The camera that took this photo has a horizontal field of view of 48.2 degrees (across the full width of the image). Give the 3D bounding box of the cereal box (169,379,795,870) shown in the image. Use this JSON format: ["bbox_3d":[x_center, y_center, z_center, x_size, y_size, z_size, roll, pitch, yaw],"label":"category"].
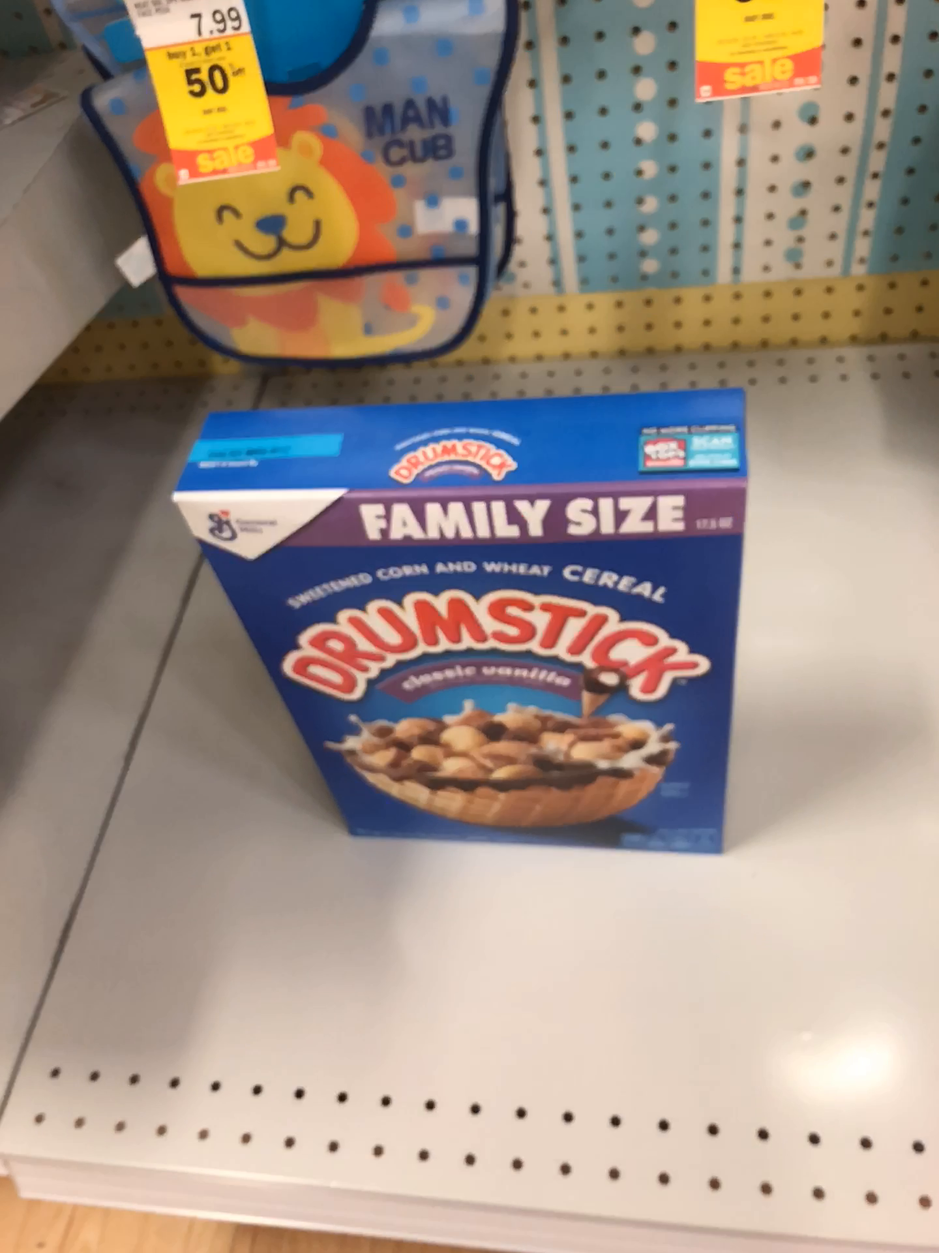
[{"bbox_3d":[0.026,0.020,0.547,0.250,0.300,0.070,0,51,12],"label":"cereal box"}]
